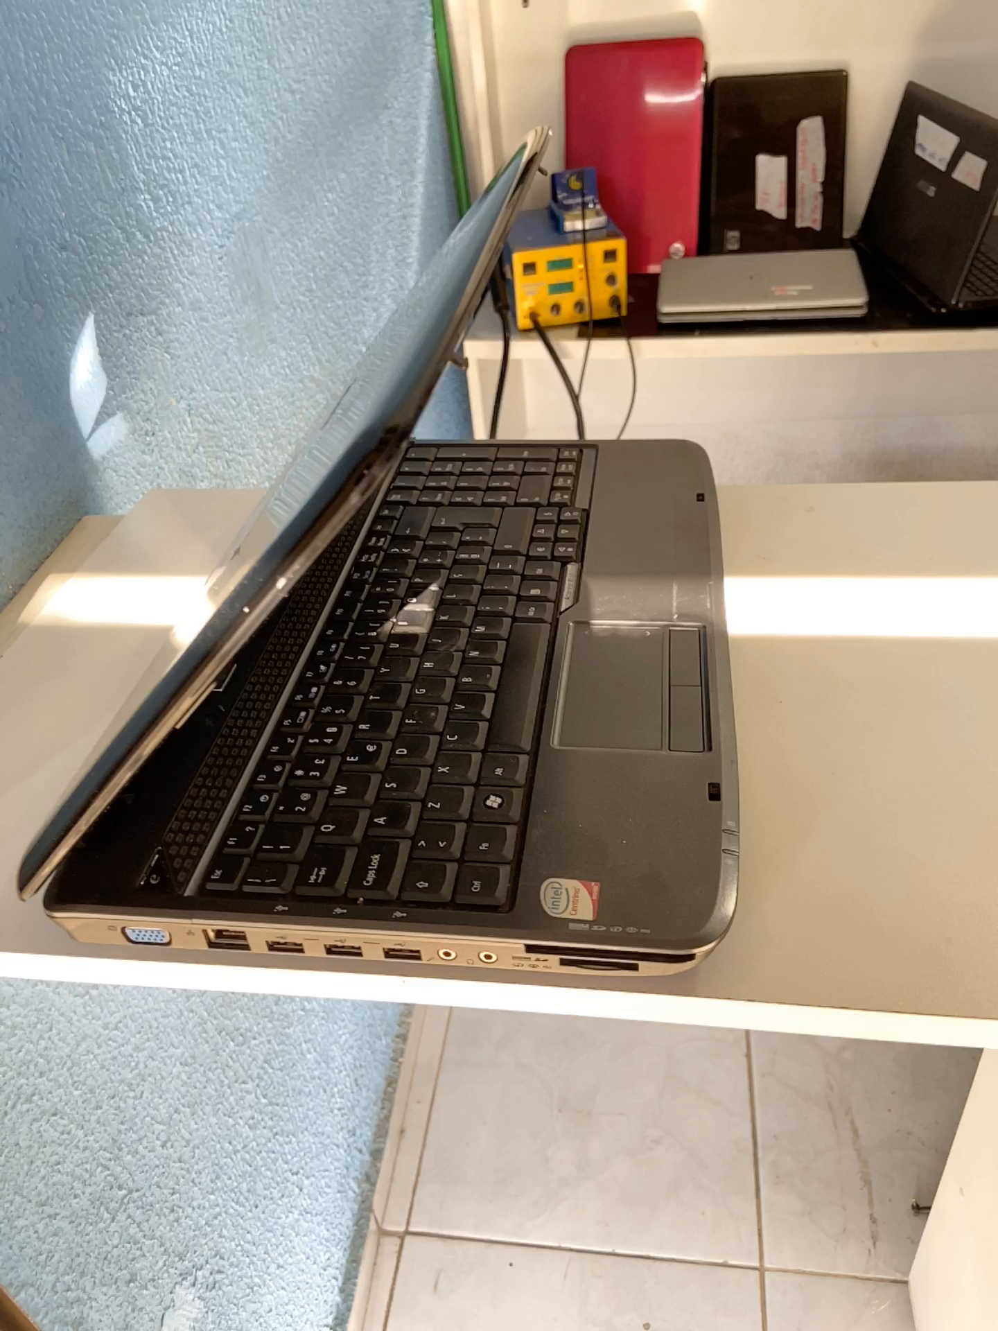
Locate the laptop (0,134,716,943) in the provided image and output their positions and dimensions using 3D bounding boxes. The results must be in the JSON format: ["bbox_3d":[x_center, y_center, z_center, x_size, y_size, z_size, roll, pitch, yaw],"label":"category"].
[{"bbox_3d":[-0.037,-0.095,0.451,0.235,0.174,0.380,0,36,9],"label":"laptop"}]
